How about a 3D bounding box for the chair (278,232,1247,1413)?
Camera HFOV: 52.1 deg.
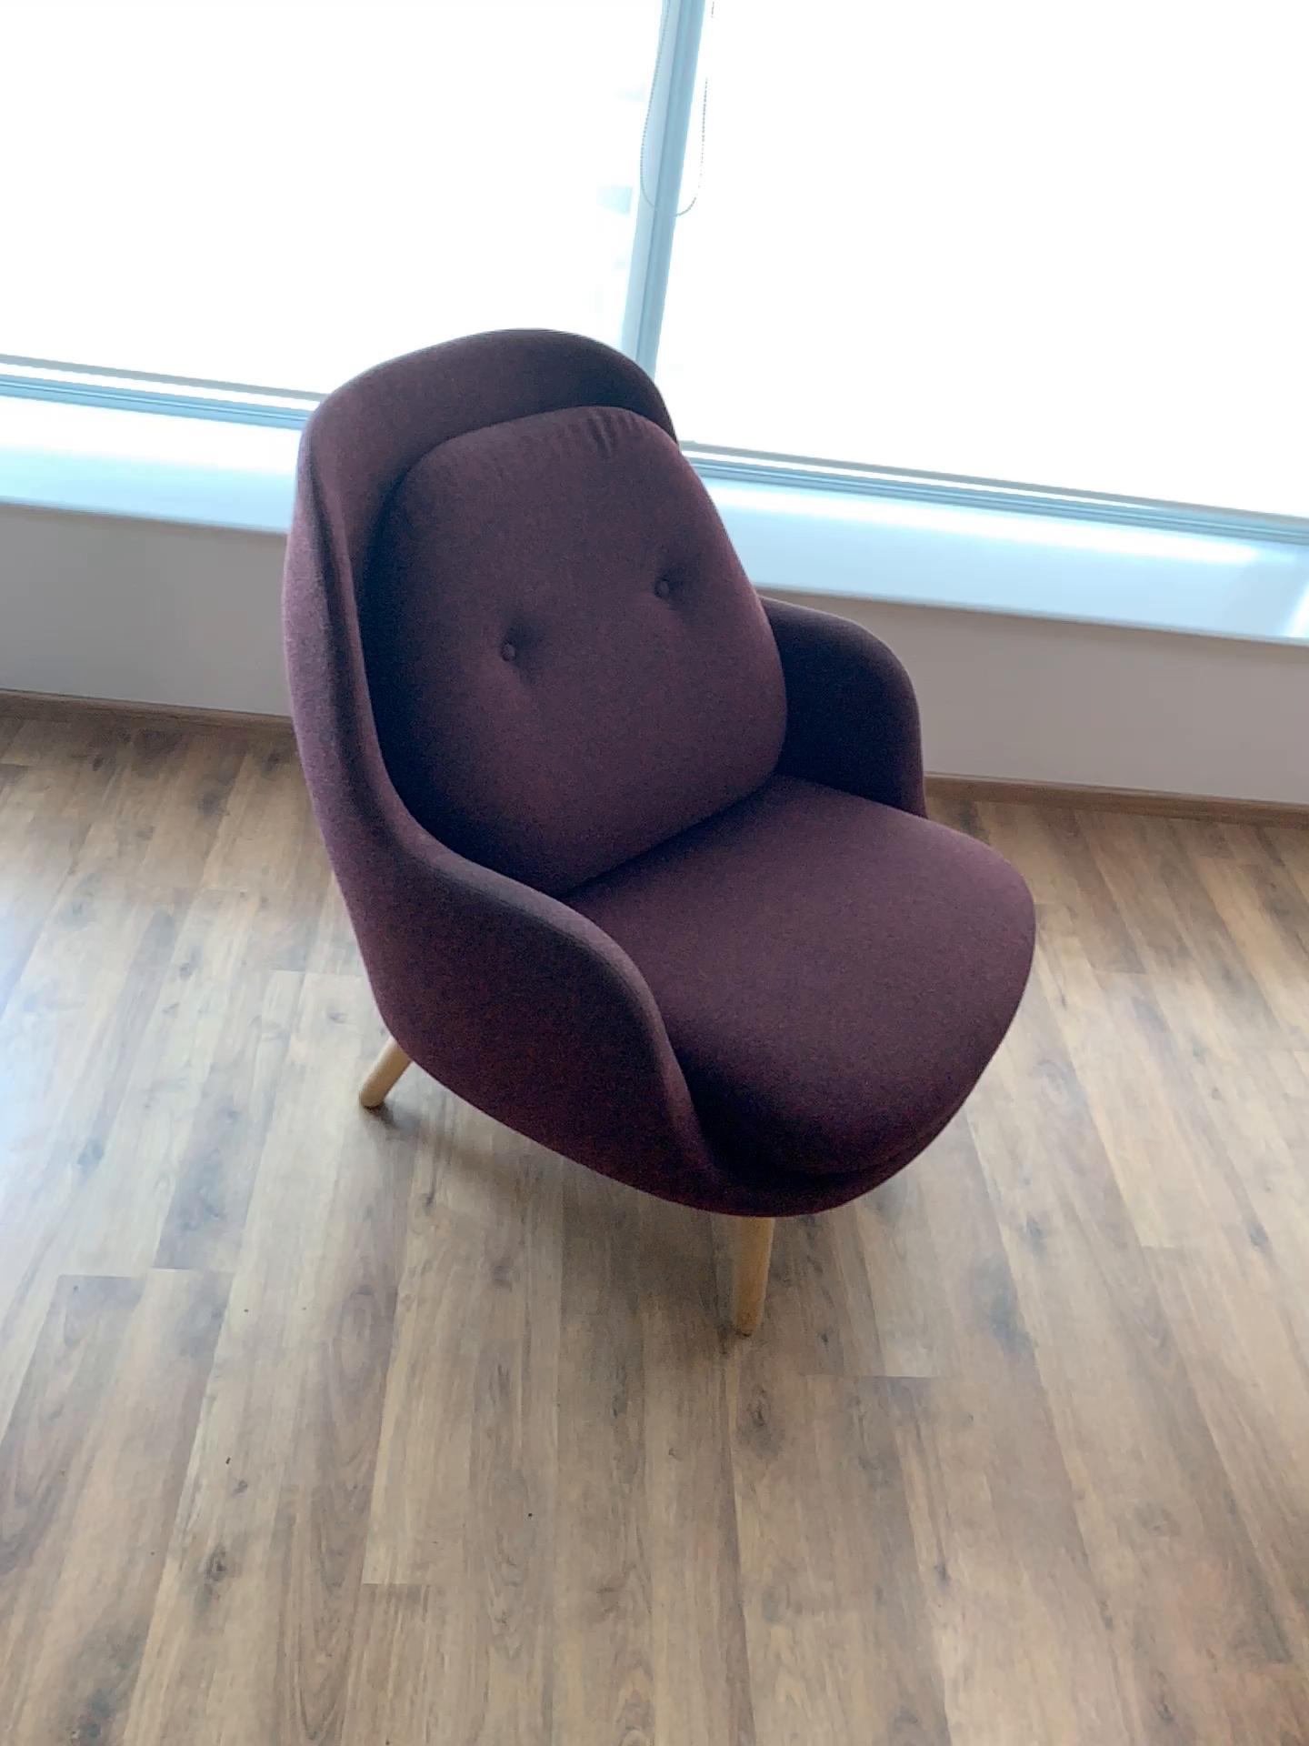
[{"bbox_3d":[0.083,-0.084,1.493,0.631,0.932,0.695,27,41,20],"label":"chair"}]
